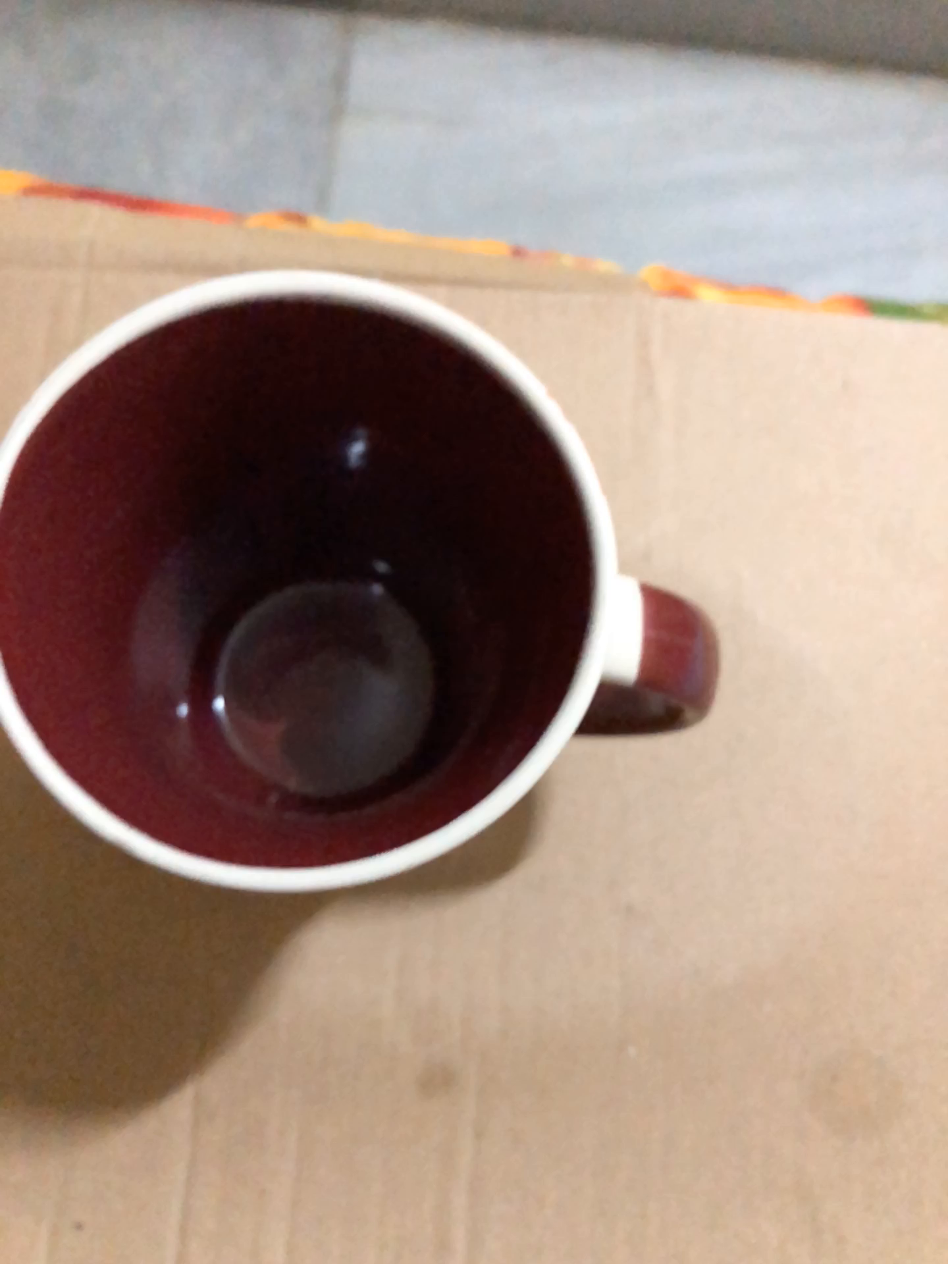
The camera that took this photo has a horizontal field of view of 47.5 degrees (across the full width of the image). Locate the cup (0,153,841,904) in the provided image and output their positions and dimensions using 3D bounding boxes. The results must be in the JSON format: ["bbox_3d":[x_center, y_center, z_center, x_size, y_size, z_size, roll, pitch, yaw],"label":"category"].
[{"bbox_3d":[-0.013,-0.007,0.214,0.130,0.110,0.100,7,74,-1],"label":"cup"}]
